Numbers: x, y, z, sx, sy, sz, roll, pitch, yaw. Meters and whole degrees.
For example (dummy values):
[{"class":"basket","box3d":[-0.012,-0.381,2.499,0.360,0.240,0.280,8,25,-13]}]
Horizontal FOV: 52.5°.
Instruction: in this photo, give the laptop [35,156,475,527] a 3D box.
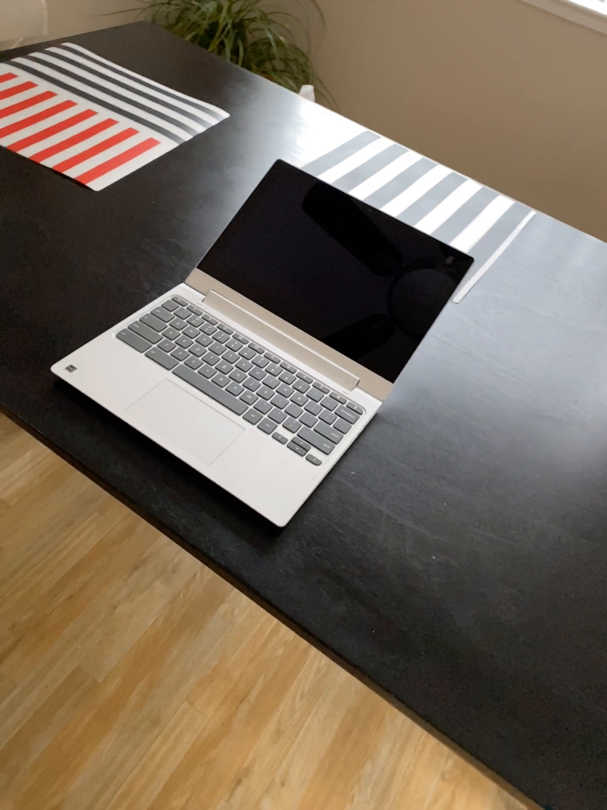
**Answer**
[{"class":"laptop","box3d":[-0.027,-0.105,0.667,0.285,0.106,0.382,32,48,14]}]
